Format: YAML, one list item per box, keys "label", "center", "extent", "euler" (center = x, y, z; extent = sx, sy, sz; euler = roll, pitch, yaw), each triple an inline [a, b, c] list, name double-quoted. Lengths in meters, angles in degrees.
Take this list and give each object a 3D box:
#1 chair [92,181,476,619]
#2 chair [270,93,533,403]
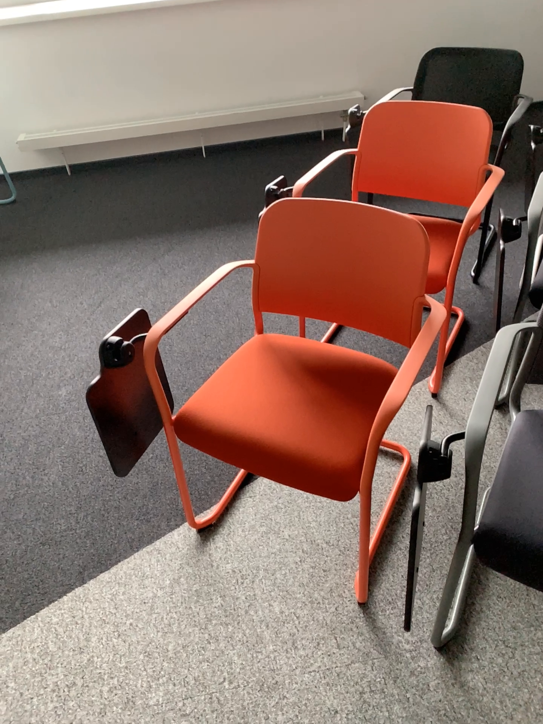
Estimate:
- label: "chair"
  center: [0.079, 0.072, 1.355]
  extent: [0.581, 0.766, 0.562]
  euler: [16, 45, 24]
- label: "chair"
  center: [0.434, -0.411, 1.887]
  extent: [0.611, 0.756, 0.603]
  euler: [16, 44, 24]
